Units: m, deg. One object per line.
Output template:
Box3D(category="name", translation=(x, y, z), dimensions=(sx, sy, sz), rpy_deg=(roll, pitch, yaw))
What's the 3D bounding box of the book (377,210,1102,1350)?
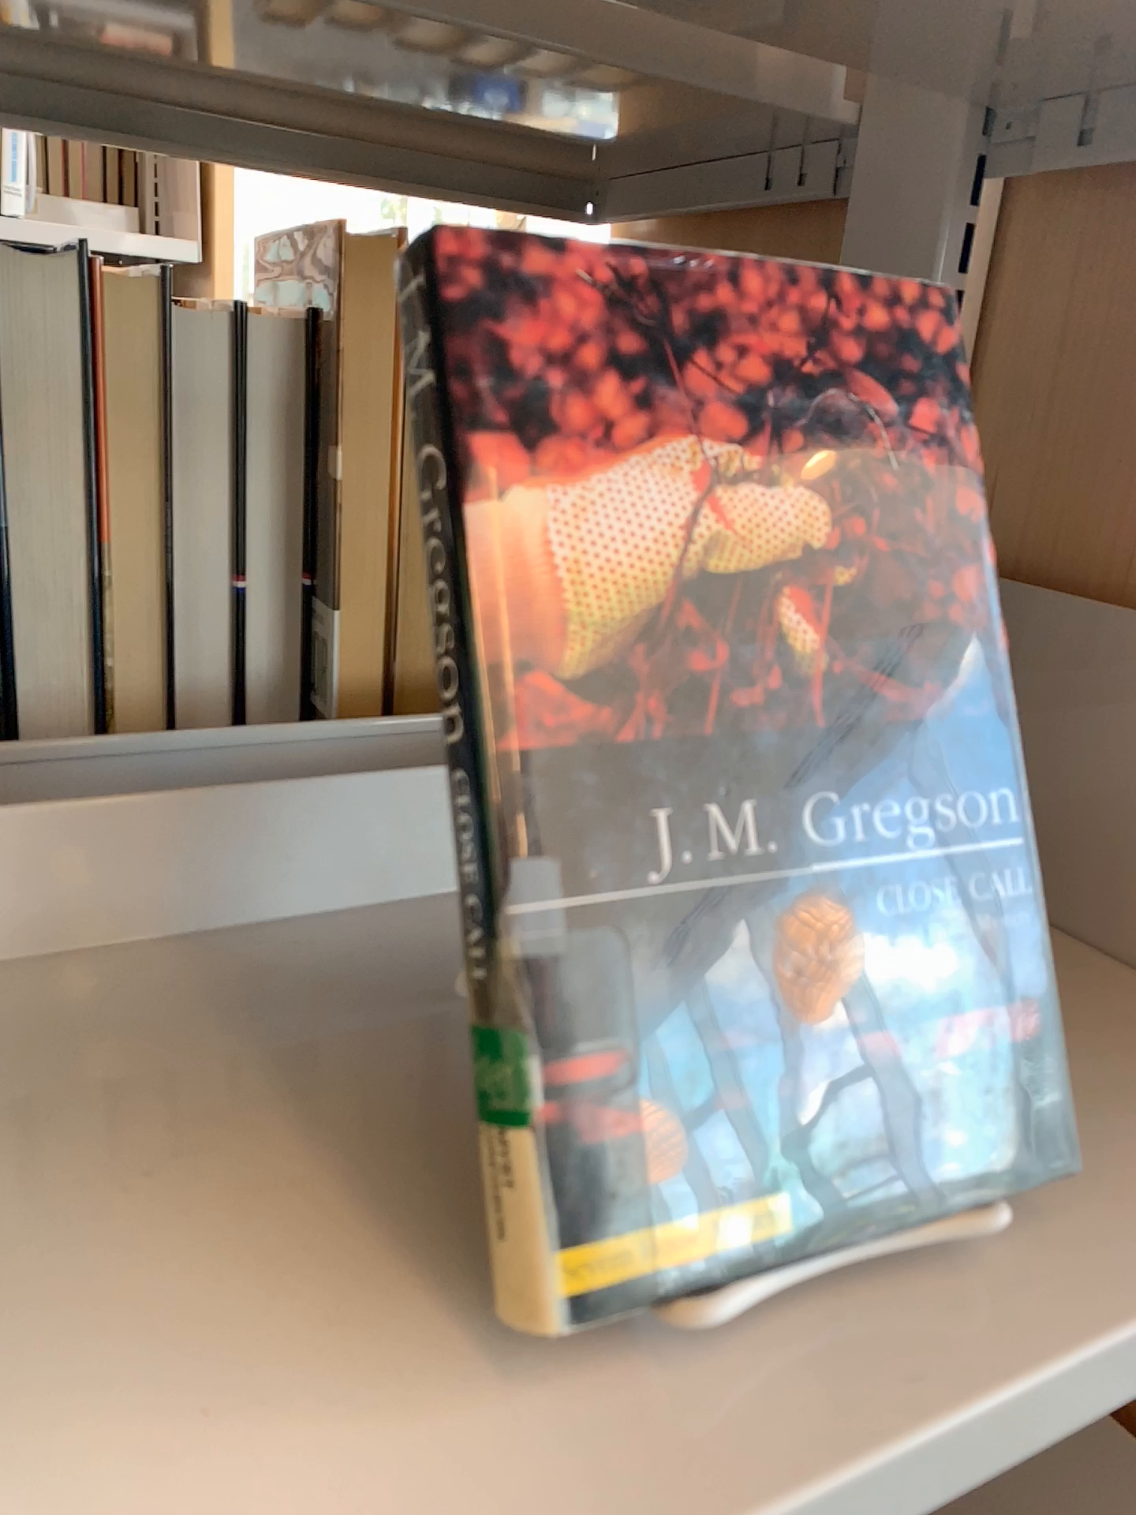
Box3D(category="book", translation=(0.040, -0.003, 0.254), dimensions=(0.140, 0.208, 0.030), rpy_deg=(-4, -5, -25))
